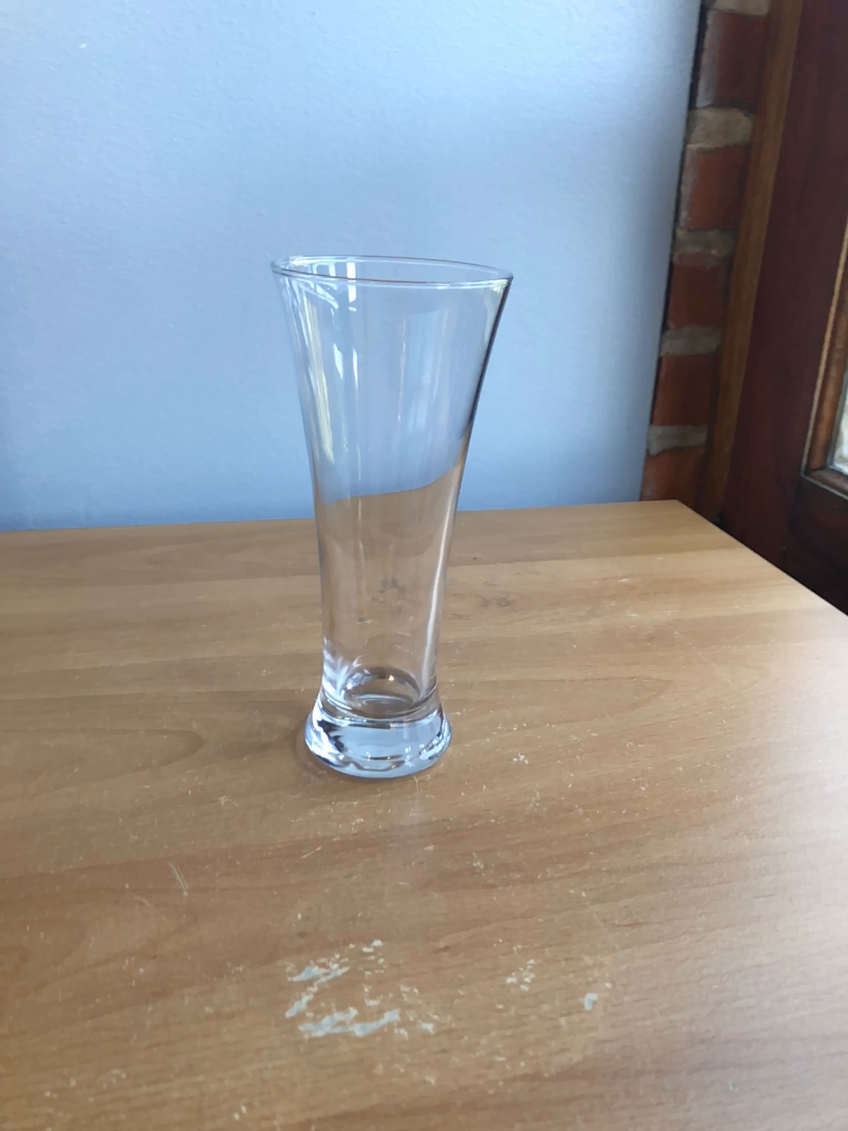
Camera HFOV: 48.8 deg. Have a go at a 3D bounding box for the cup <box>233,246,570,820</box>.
[{"bbox_3d":[-0.009,-0.016,0.324,0.076,0.168,0.083,3,23,-1],"label":"cup"}]
